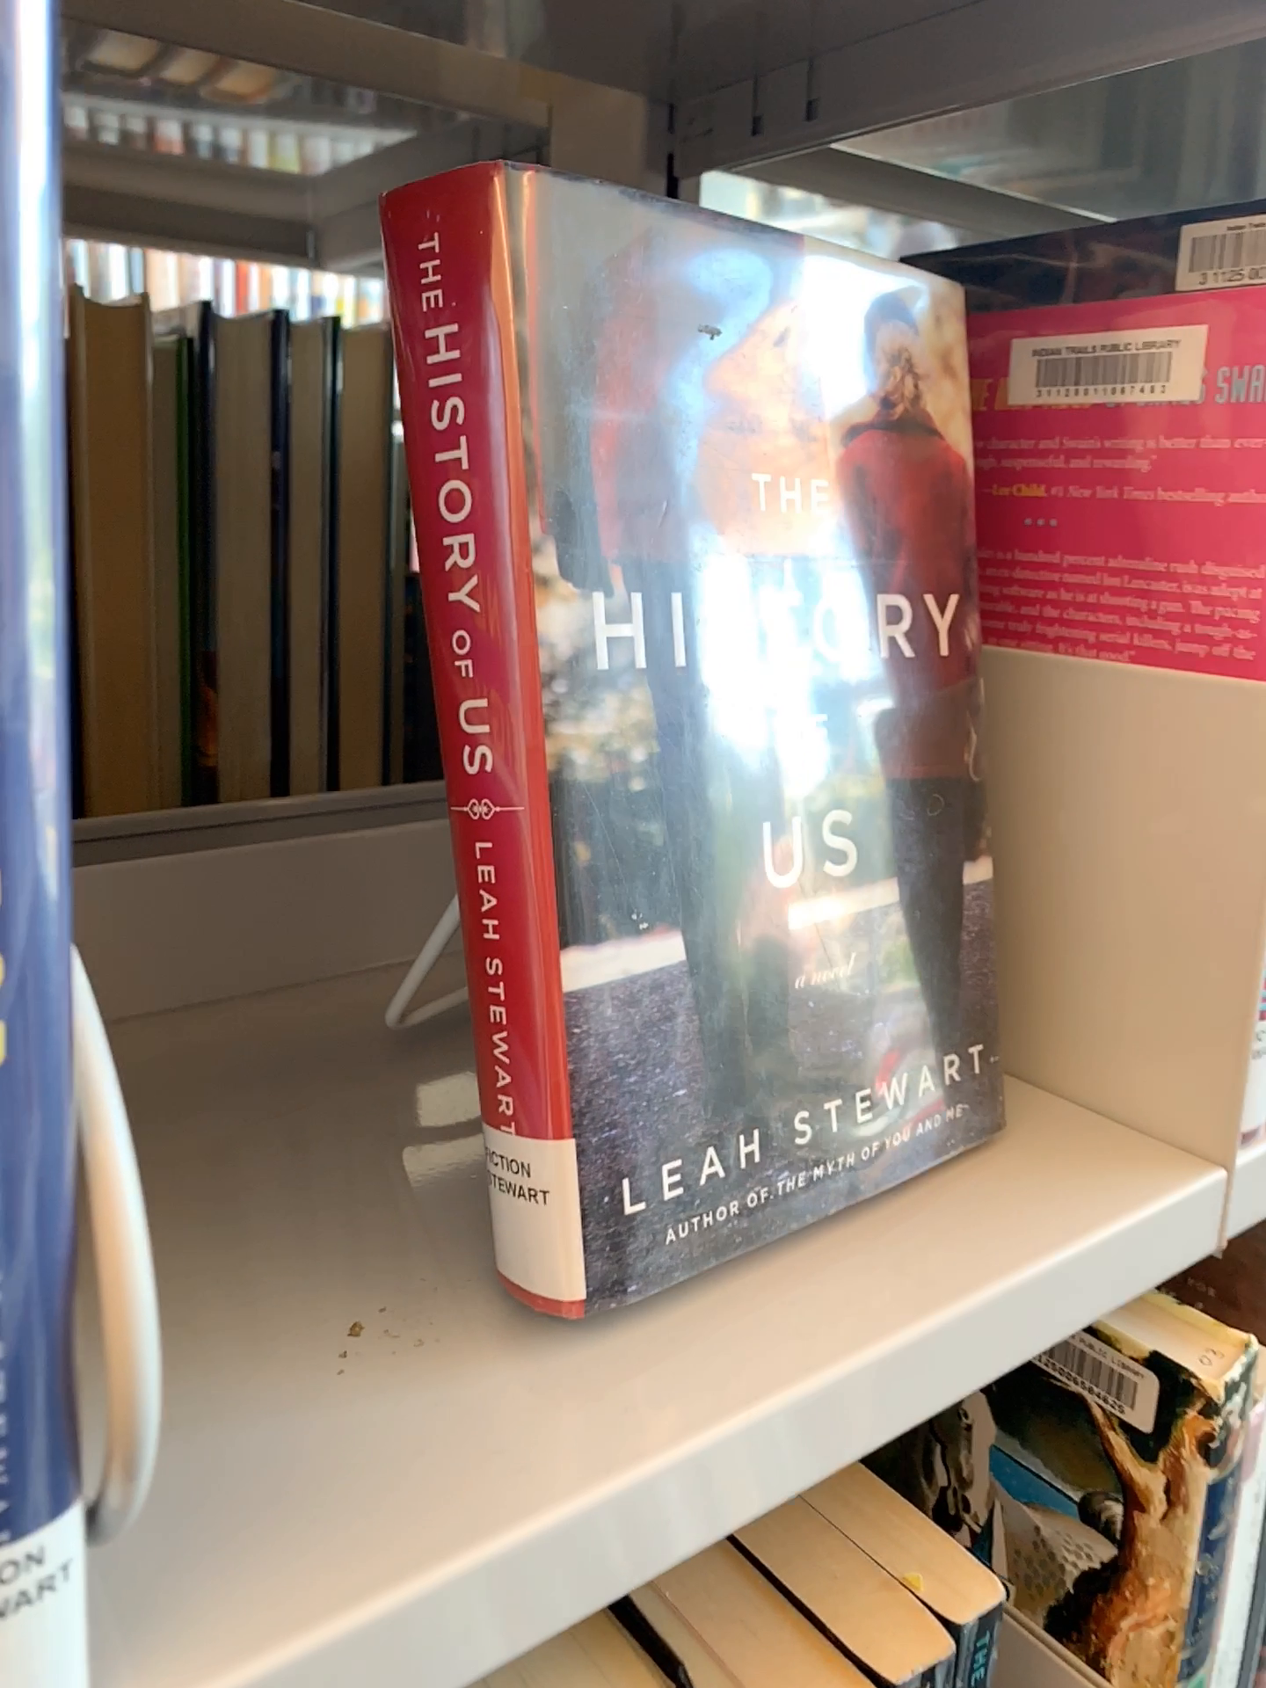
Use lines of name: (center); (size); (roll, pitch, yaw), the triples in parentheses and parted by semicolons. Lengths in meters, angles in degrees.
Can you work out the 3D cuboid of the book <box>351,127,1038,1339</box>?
book: (0.025, -0.026, 0.300); (0.153, 0.220, 0.040); (-10, 9, -38)
